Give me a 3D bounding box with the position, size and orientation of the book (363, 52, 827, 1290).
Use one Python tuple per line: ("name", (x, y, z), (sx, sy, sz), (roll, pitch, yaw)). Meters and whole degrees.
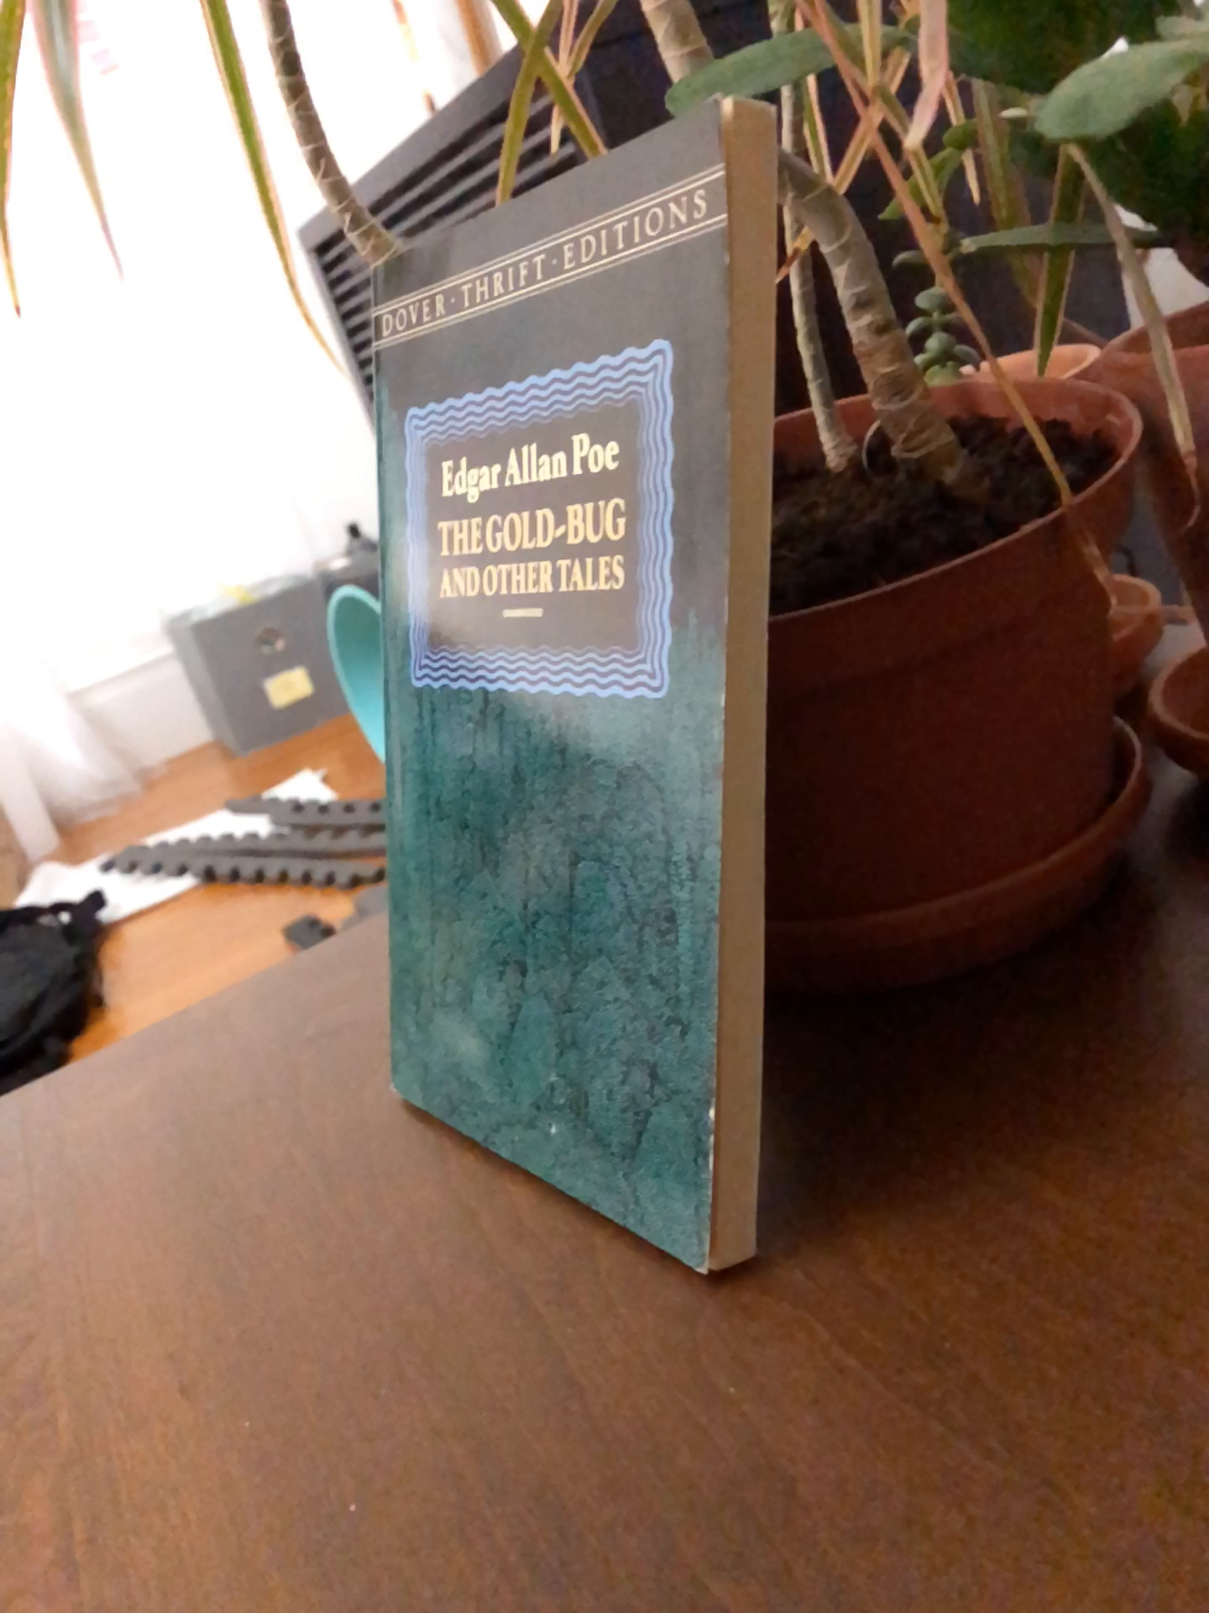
("book", (-0.012, -0.026, 0.291), (0.020, 0.210, 0.140), (-3, 7, -35))
